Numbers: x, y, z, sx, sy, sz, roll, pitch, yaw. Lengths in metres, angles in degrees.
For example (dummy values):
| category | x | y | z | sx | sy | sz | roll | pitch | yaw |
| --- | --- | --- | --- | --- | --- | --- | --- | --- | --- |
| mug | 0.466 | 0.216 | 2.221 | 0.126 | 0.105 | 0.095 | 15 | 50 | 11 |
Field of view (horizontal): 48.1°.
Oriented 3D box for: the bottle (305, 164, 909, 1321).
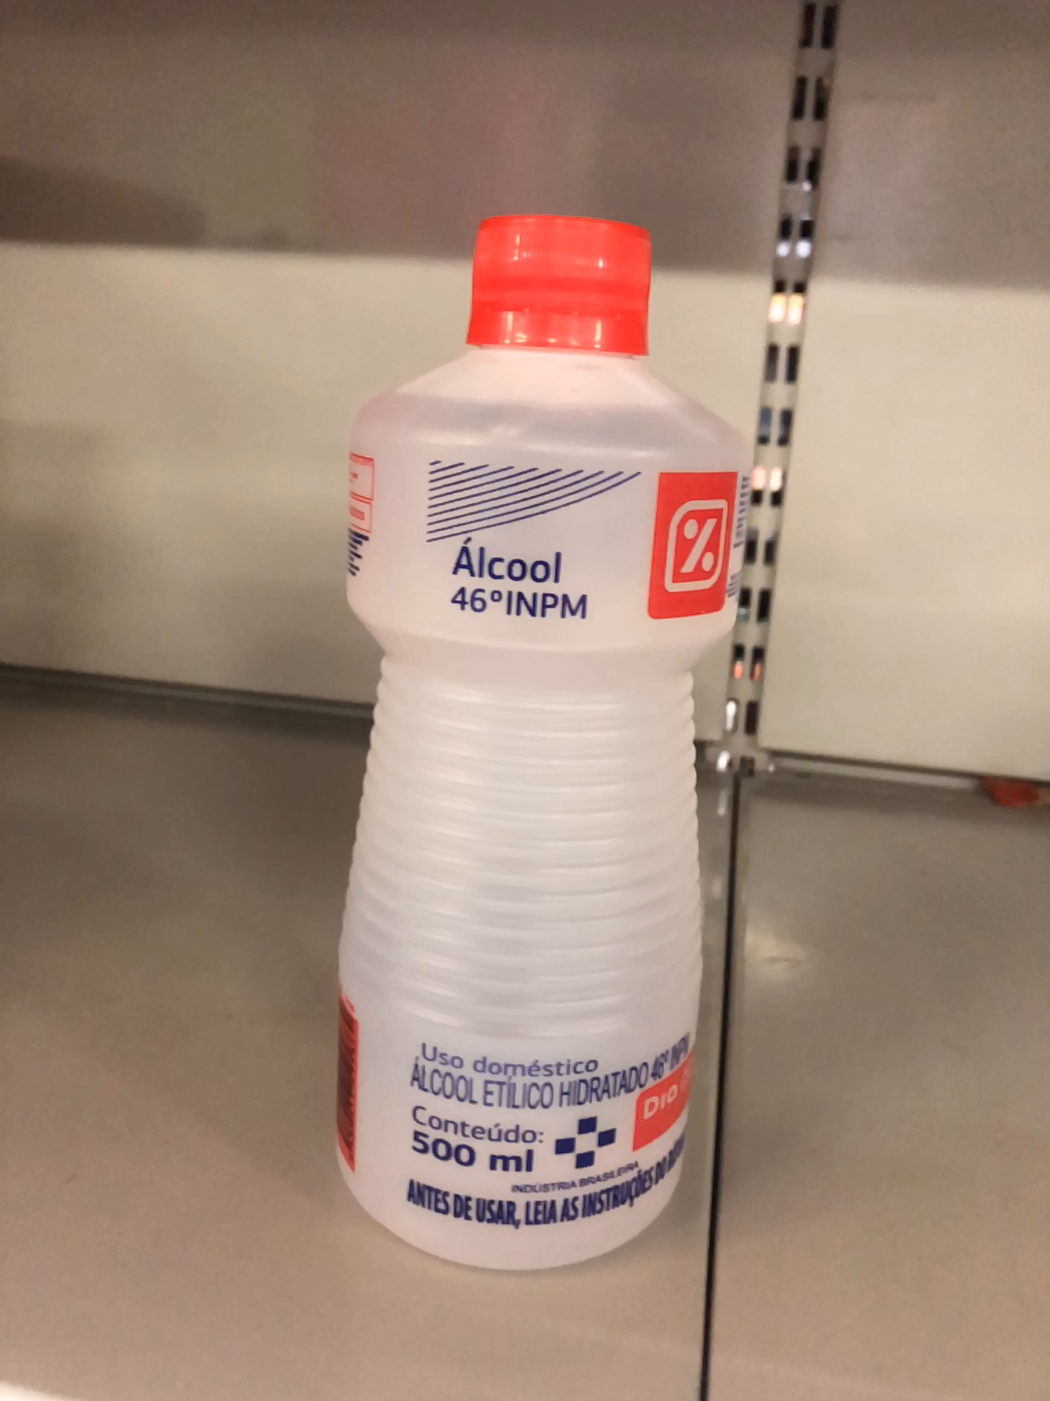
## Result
| category | x | y | z | sx | sy | sz | roll | pitch | yaw |
| --- | --- | --- | --- | --- | --- | --- | --- | --- | --- |
| bottle | 0.007 | 0.007 | 0.217 | 0.080 | 0.179 | 0.080 | 2 | 15 | -1 |
